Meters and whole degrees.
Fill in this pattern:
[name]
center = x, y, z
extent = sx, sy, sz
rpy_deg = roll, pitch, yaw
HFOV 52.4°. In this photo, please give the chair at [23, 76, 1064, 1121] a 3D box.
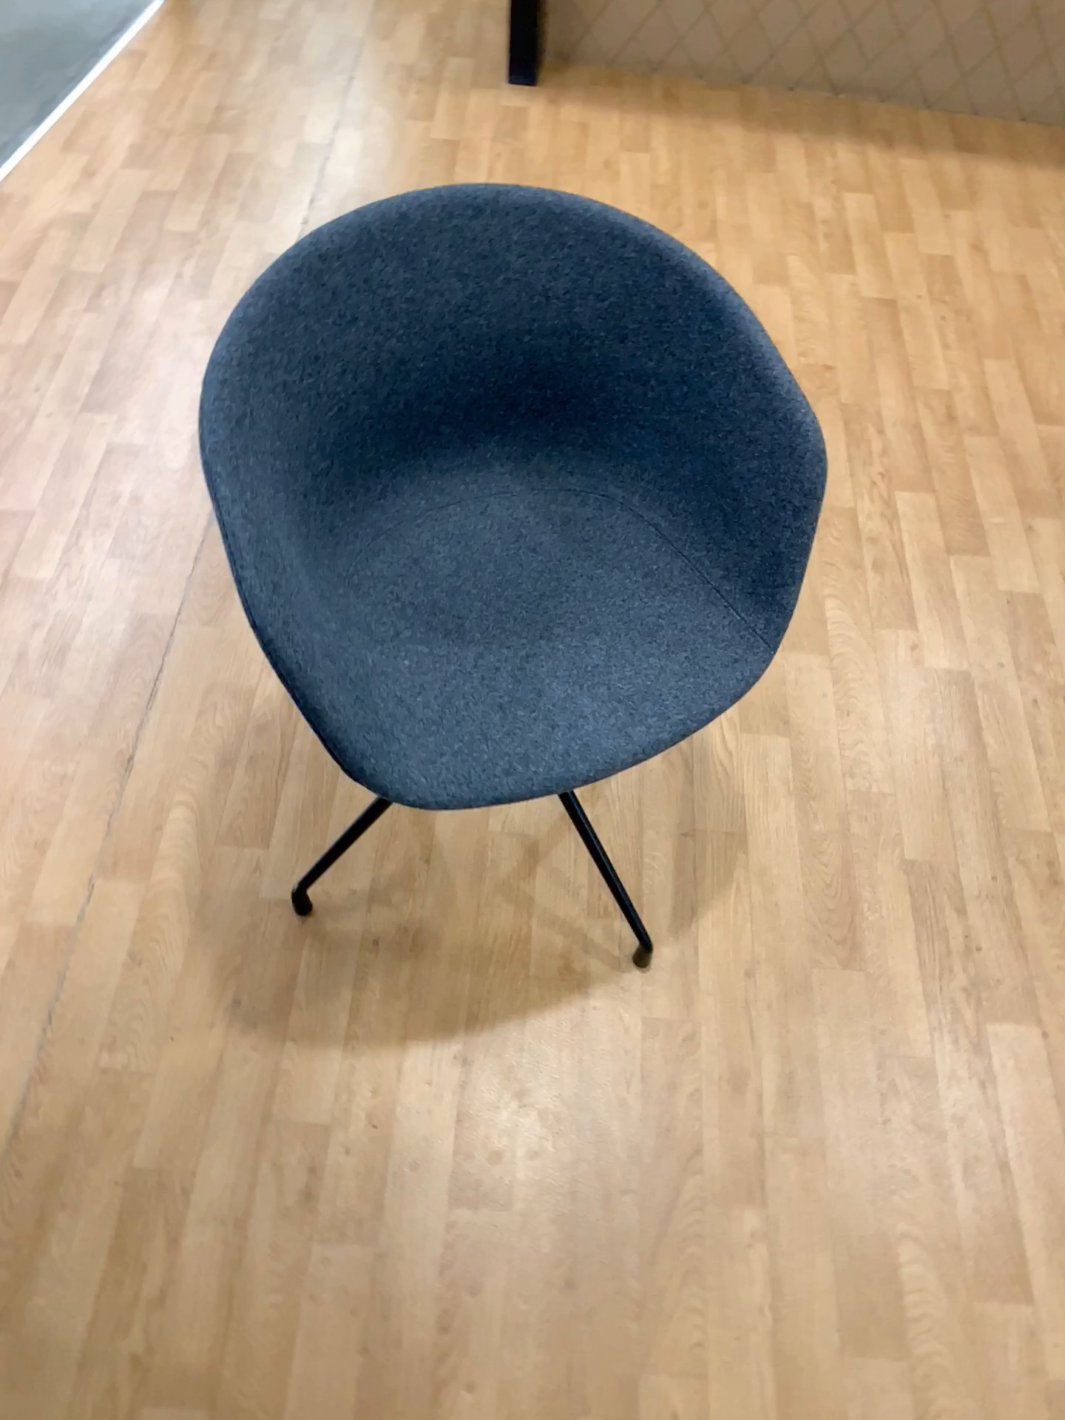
[chair]
center = -0.029, -0.122, 1.205
extent = 0.711, 0.686, 0.734
rpy_deg = -18, 58, -14
